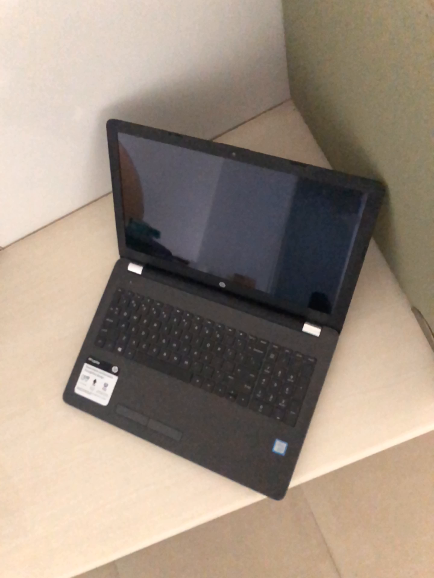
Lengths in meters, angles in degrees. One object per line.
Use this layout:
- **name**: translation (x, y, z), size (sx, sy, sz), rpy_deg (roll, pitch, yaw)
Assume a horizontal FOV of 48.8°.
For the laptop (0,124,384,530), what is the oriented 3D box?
- **laptop**: translation (-0.026, 0.030, 0.655), size (0.366, 0.168, 0.393), rpy_deg (19, 83, 18)
